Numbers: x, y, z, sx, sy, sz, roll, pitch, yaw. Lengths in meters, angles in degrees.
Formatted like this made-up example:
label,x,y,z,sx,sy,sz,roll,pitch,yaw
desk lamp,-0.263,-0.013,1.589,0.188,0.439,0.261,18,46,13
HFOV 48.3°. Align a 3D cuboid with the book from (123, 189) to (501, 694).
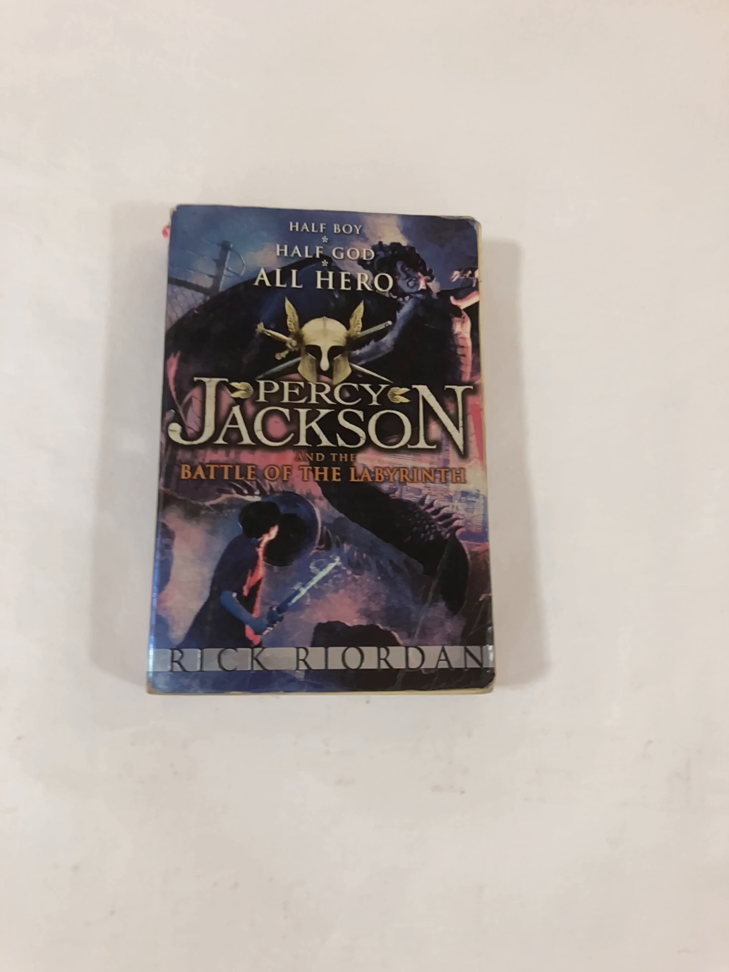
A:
label,x,y,z,sx,sy,sz,roll,pitch,yaw
book,-0.020,-0.017,0.320,0.130,0.040,0.190,1,77,-6
